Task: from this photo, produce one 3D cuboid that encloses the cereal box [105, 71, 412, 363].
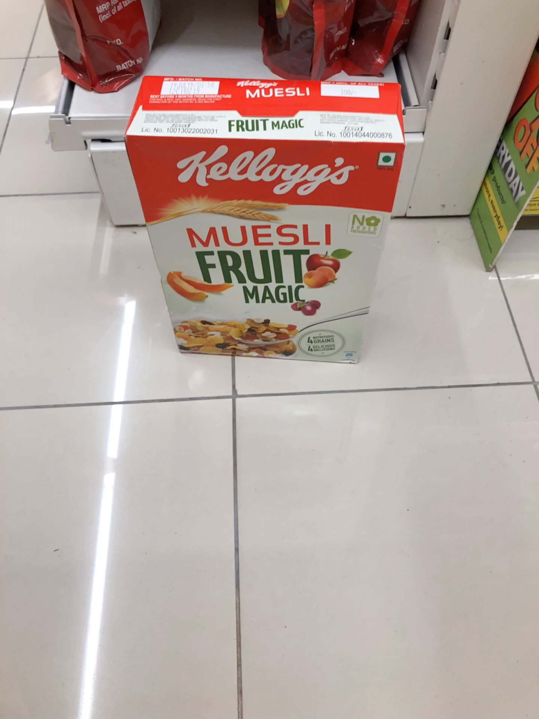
[{"bbox_3d":[-0.004,-0.098,0.490,0.190,0.239,0.080,3,58,2],"label":"cereal box"}]
